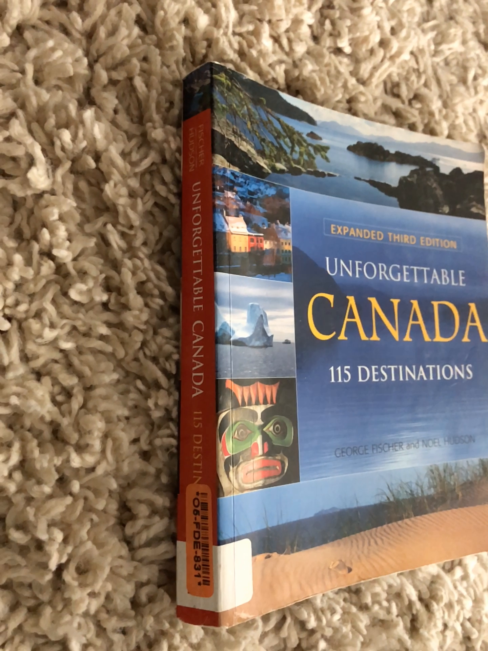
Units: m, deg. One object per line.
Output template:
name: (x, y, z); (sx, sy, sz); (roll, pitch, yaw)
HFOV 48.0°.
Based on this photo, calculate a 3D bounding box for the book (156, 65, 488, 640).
book: (0.057, 0.011, 0.290); (0.201, 0.040, 0.234); (3, 83, -29)
